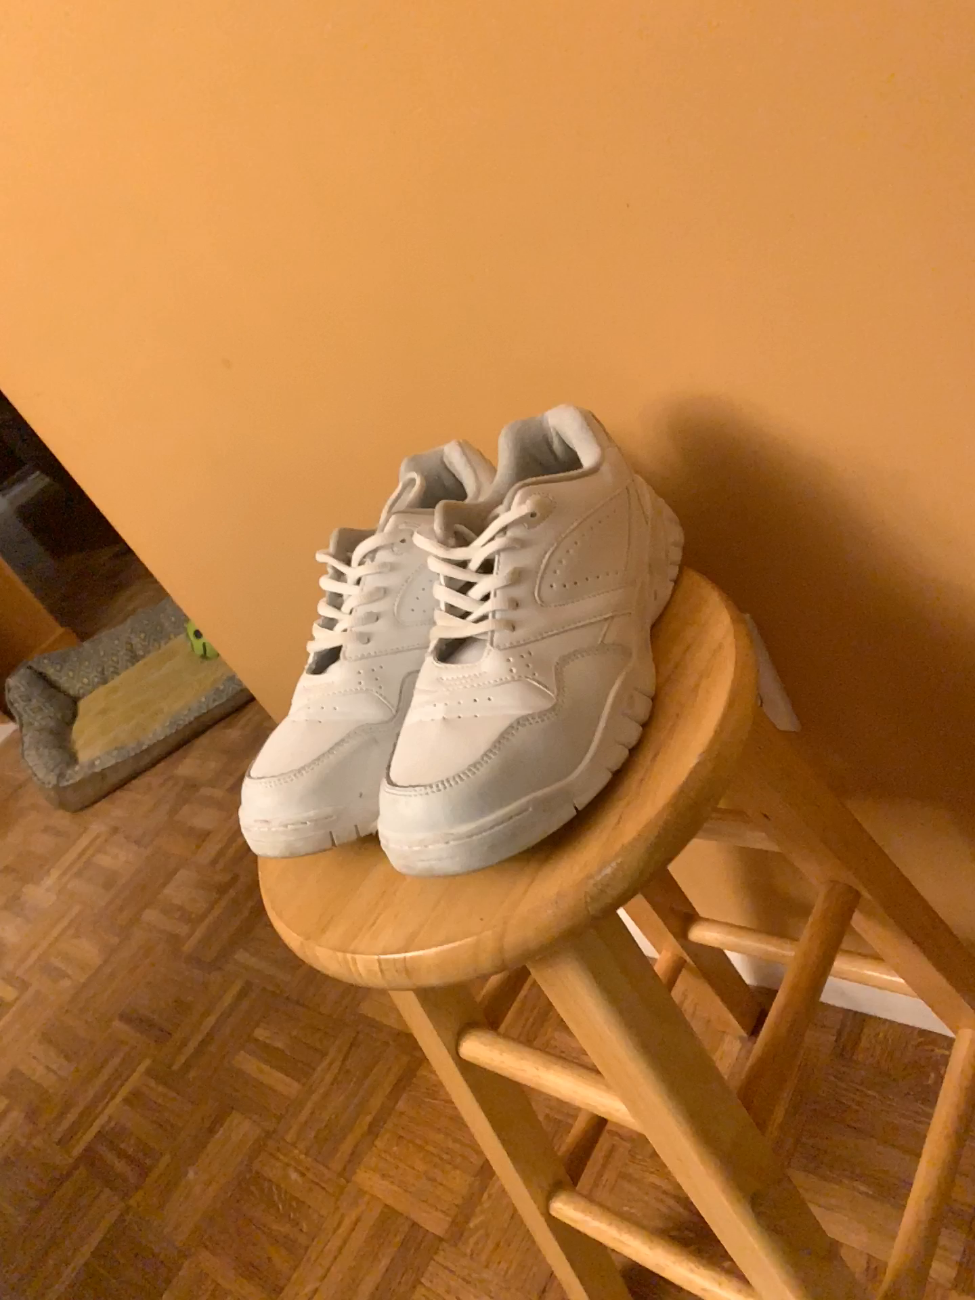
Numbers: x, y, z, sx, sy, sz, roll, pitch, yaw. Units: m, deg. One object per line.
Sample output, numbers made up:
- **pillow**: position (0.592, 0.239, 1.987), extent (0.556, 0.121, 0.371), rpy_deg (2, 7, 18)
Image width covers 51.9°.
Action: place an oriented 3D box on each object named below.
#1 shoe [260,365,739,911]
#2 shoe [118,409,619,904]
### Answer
- **shoe**: position (0.026, -0.014, 0.507), extent (0.120, 0.109, 0.271), rpy_deg (-11, 35, 35)
- **shoe**: position (-0.053, -0.006, 0.576), extent (0.131, 0.109, 0.270), rpy_deg (-5, 39, 41)
